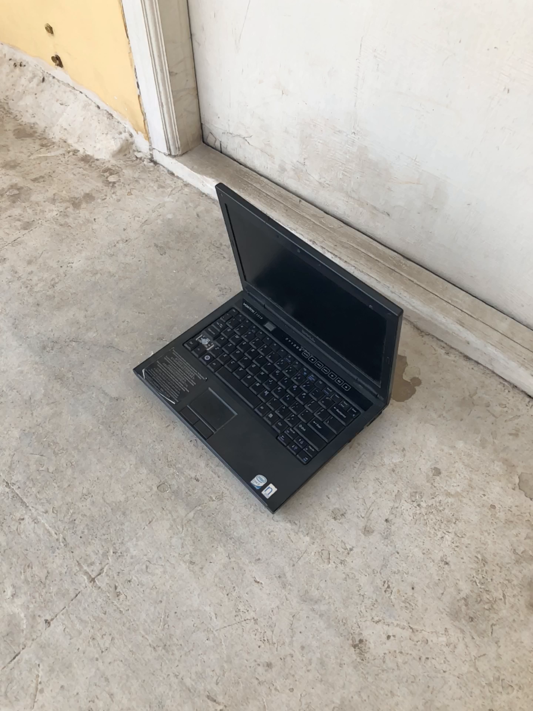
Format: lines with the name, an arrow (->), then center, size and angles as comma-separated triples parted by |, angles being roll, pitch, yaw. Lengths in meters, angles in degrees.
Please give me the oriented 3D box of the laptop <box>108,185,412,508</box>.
laptop -> -0.014, -0.016, 0.770 | 0.214, 0.219, 0.293 | -38, 62, -22
